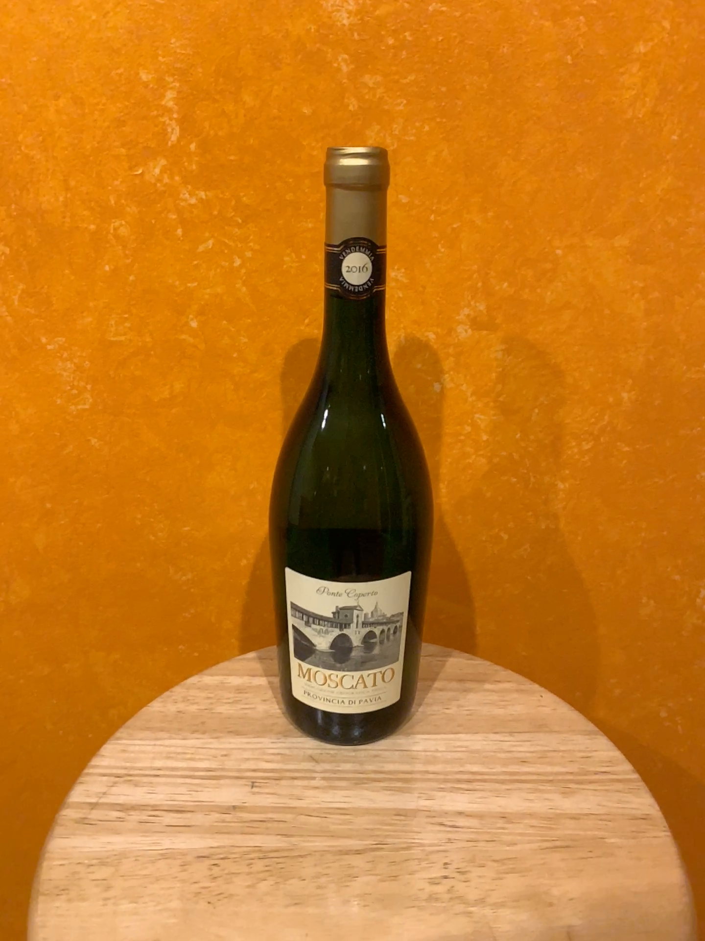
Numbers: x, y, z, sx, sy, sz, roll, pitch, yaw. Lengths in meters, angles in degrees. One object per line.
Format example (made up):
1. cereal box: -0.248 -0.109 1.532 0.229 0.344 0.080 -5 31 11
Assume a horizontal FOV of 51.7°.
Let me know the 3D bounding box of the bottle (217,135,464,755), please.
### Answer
1. bottle: -0.005 -0.002 0.353 0.090 0.289 0.070 2 23 3
